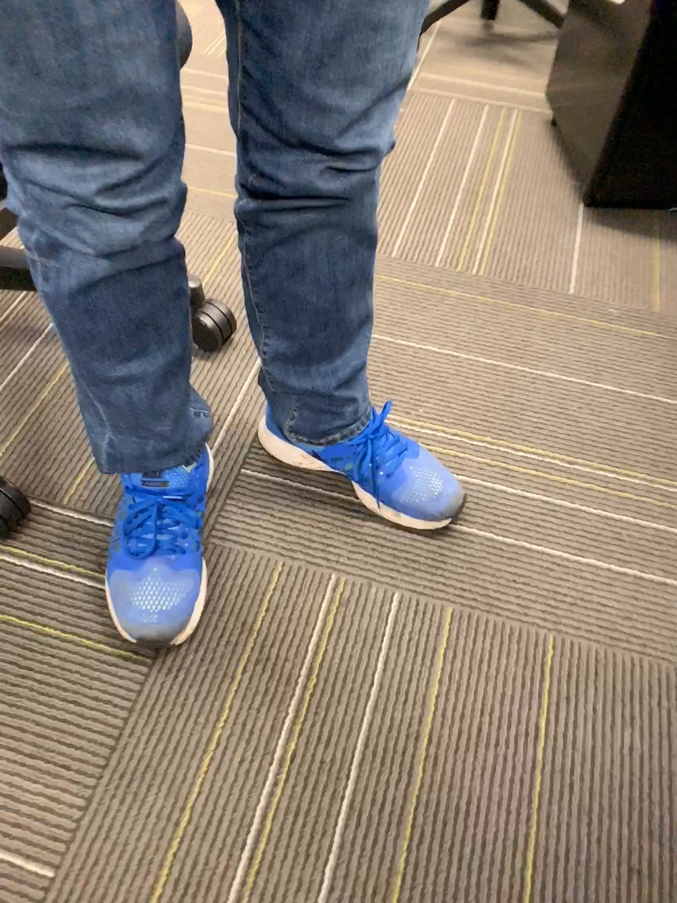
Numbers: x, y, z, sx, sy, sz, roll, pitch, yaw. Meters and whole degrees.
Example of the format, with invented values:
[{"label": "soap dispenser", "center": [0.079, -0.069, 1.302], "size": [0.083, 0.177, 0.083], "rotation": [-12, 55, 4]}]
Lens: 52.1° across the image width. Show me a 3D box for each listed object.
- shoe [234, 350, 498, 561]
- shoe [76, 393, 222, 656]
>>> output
[{"label": "shoe", "center": [0.029, -0.008, 0.900], "size": [0.311, 0.088, 0.142], "rotation": [29, 54, 30]}, {"label": "shoe", "center": [-0.210, 0.068, 0.831], "size": [0.119, 0.088, 0.340], "rotation": [-1, 42, -5]}]
